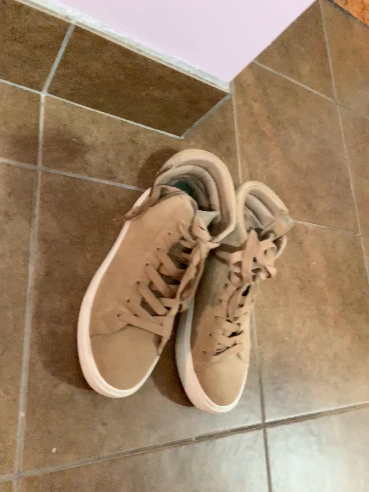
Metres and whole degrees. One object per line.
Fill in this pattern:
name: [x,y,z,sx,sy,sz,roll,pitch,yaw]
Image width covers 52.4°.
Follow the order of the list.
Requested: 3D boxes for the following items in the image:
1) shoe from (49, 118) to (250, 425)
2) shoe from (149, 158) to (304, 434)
shoe: [-0.028,0.026,0.377,0.106,0.117,0.254,24,63,-26]
shoe: [0.045,0.059,0.440,0.113,0.119,0.270,13,68,-31]
